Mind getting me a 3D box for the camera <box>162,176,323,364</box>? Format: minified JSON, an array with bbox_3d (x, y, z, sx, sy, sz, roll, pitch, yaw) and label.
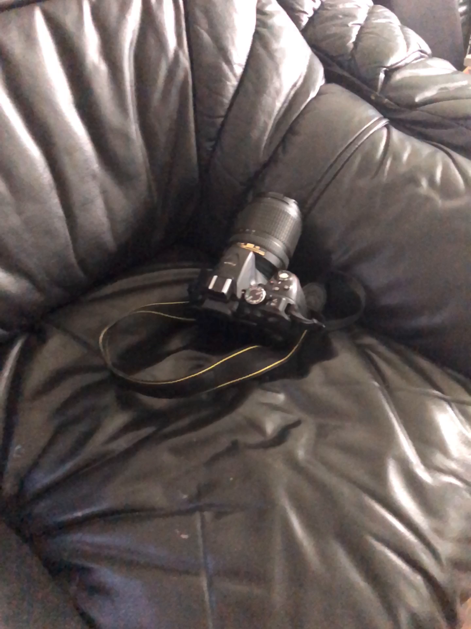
[{"bbox_3d":[0.019,-0.056,0.665,0.140,0.130,0.170,15,66,16],"label":"camera"}]
